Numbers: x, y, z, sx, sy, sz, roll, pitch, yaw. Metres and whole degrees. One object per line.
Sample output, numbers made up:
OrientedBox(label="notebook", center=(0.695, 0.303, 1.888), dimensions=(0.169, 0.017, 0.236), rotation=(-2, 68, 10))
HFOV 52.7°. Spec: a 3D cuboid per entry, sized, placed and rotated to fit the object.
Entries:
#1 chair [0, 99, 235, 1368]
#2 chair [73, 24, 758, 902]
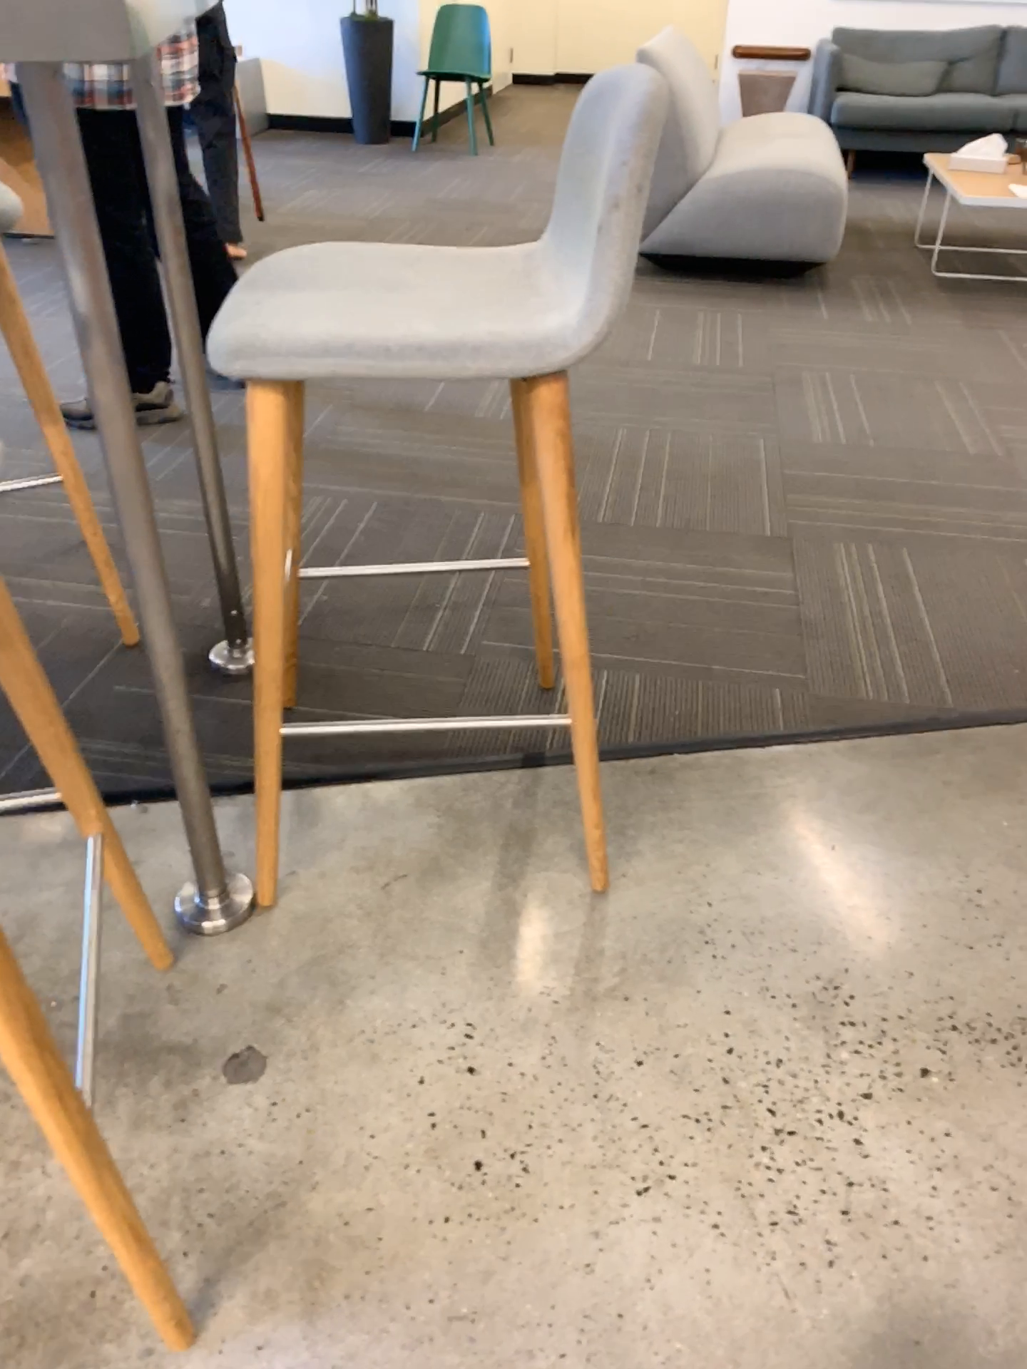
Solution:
OrientedBox(label="chair", center=(-0.564, 0.095, 0.810), dimensions=(0.550, 0.914, 0.574), rotation=(-7, 35, -12))
OrientedBox(label="chair", center=(-0.112, -0.382, 1.553), dimensions=(0.580, 0.974, 0.966), rotation=(0, 35, -3))
